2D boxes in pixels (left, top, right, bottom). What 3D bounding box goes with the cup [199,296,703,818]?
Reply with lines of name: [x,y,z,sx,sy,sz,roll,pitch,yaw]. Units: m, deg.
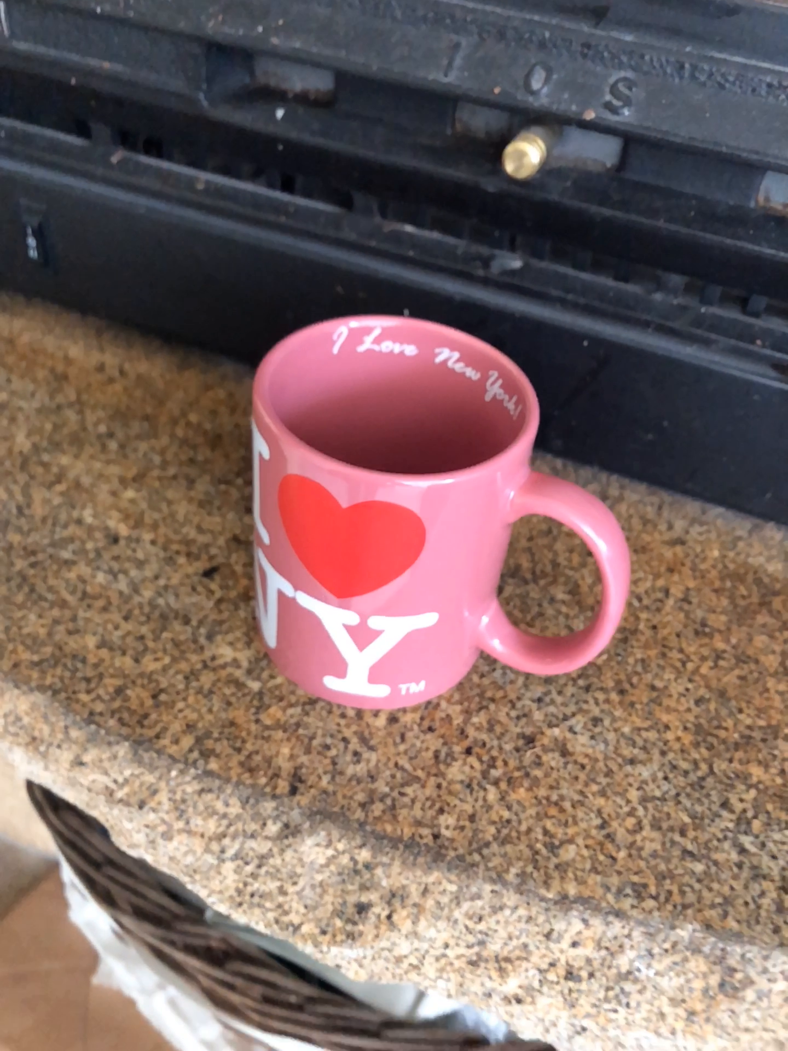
cup: [0.017,0.007,0.278,0.120,0.099,0.091,17,43,10]
